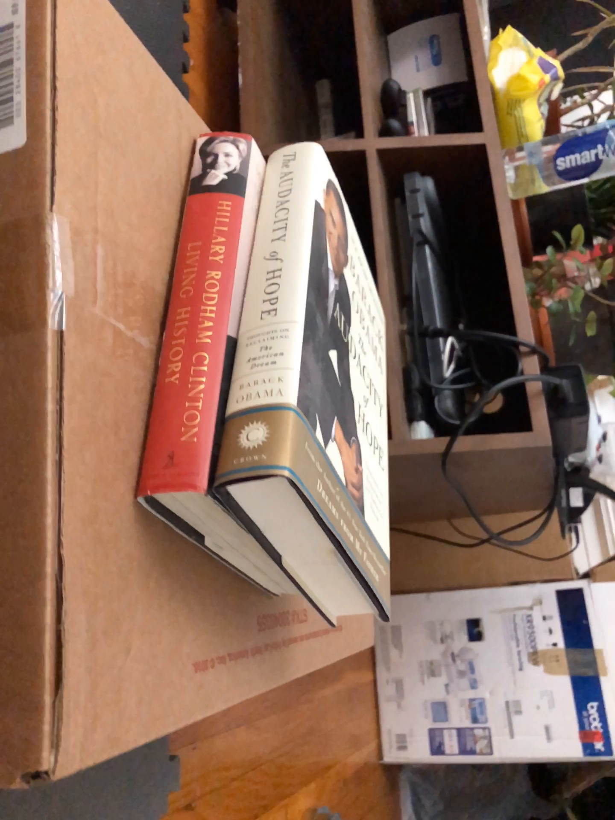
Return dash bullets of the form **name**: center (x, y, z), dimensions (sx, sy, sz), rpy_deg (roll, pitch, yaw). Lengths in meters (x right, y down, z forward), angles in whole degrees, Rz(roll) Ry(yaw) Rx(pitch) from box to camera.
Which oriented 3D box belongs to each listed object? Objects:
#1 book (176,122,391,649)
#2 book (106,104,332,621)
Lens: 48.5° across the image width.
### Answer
- **book**: center (0.006, -0.015, 0.410), dimensions (0.190, 0.040, 0.251), rpy_deg (61, 26, -48)
- **book**: center (-0.031, -0.025, 0.403), dimensions (0.170, 0.040, 0.251), rpy_deg (56, 29, -53)
